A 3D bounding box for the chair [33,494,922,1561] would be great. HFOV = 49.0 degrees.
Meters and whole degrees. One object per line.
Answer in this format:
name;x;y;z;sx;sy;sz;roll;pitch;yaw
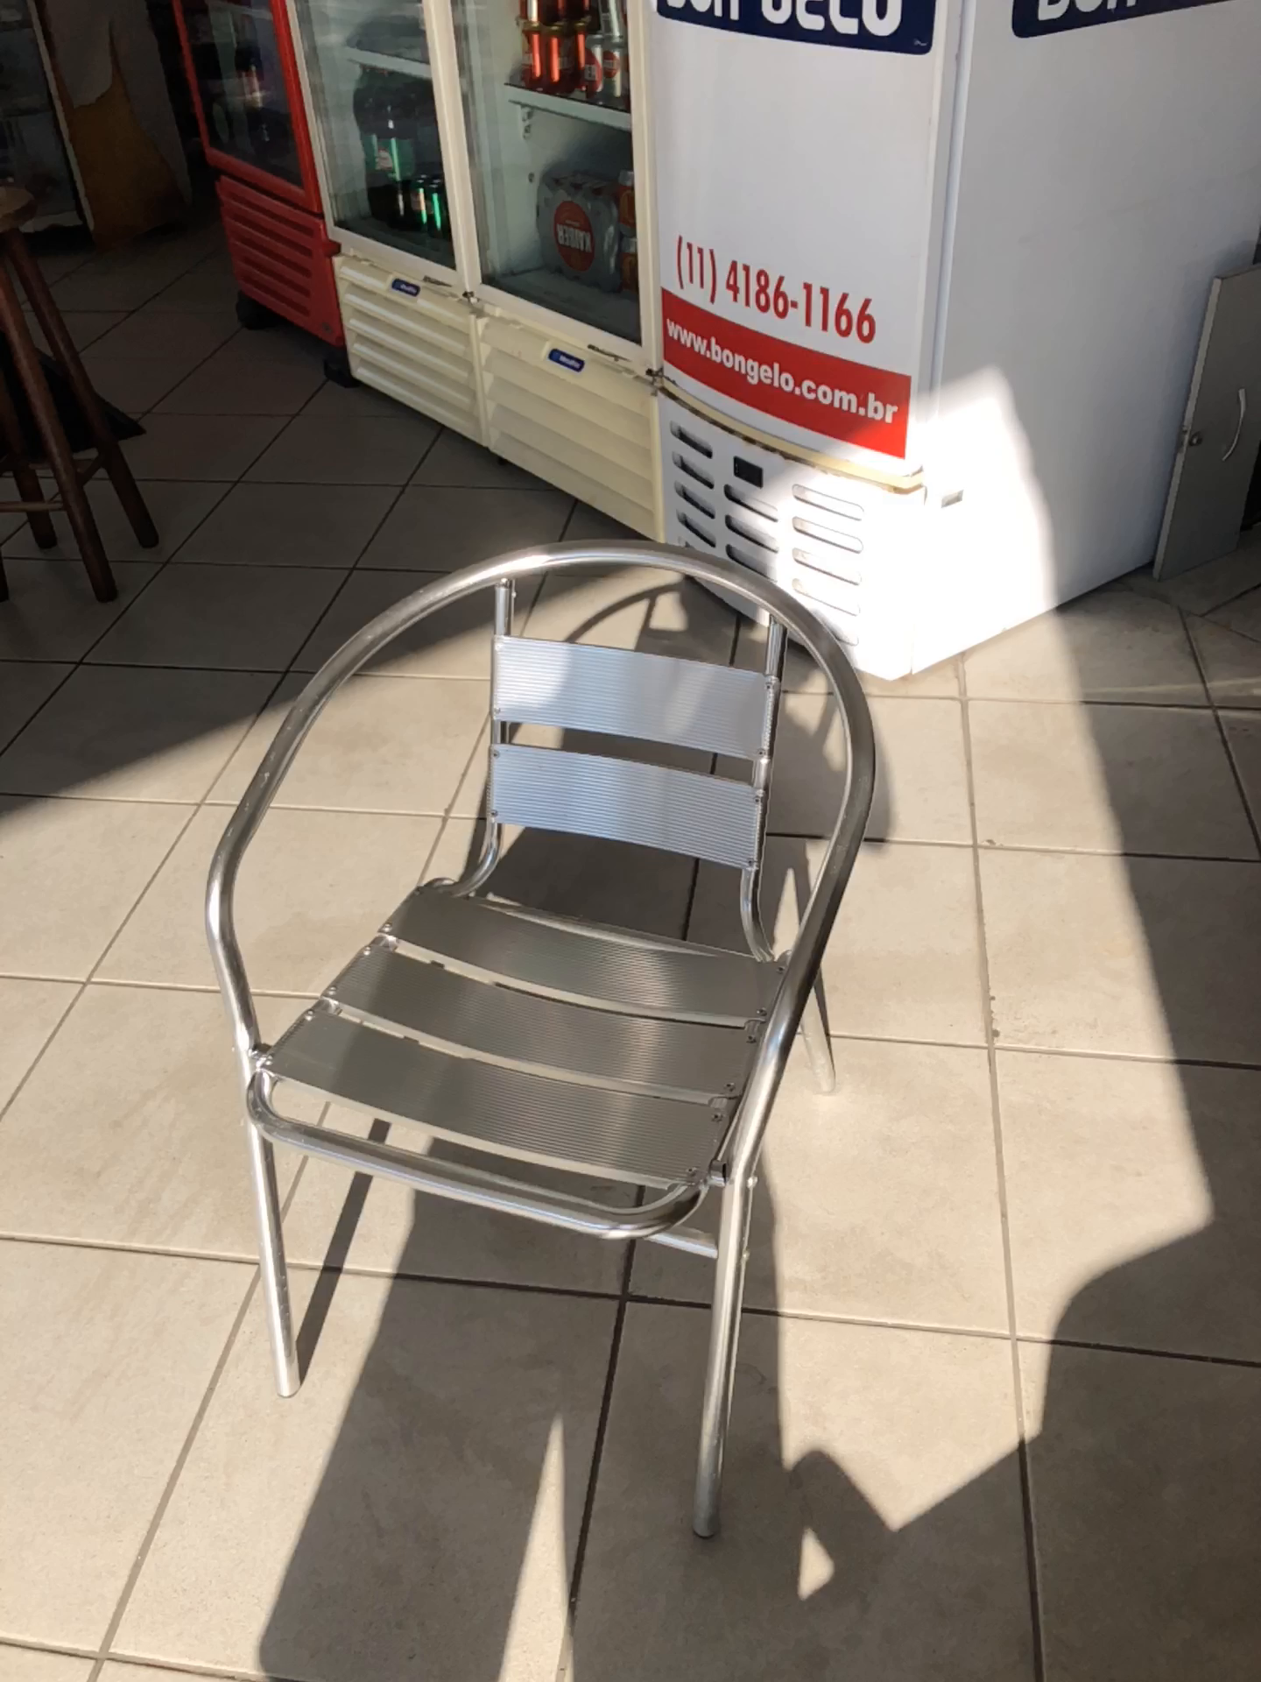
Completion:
chair;-0.059;0.144;1.358;0.520;0.705;0.634;10;39;17
